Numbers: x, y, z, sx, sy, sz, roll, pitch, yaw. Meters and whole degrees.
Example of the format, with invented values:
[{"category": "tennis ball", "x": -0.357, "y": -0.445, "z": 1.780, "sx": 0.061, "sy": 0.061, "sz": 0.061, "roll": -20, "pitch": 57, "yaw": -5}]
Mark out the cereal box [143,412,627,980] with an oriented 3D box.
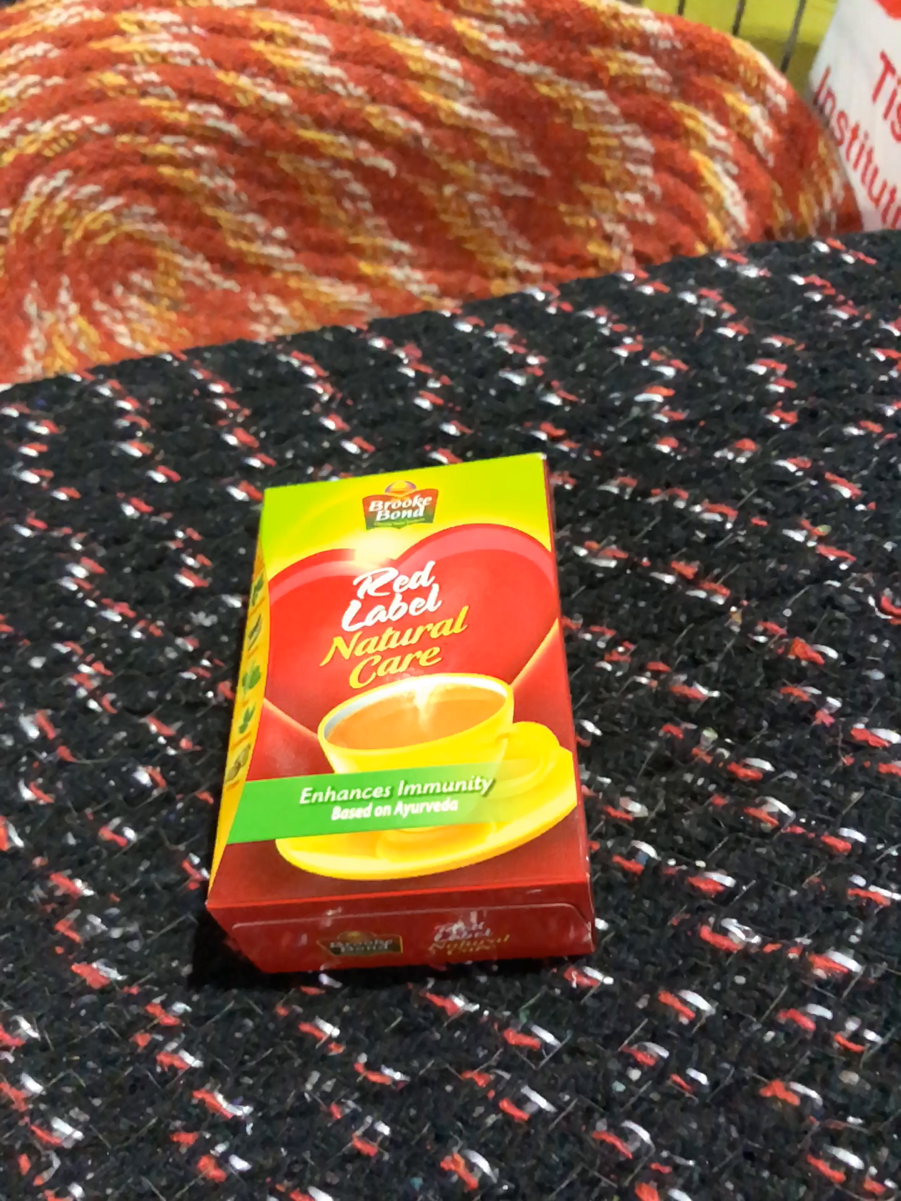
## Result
[{"category": "cereal box", "x": -0.010, "y": 0.016, "z": 0.215, "sx": 0.080, "sy": 0.040, "sz": 0.110, "roll": -4, "pitch": 53, "yaw": 4}]
